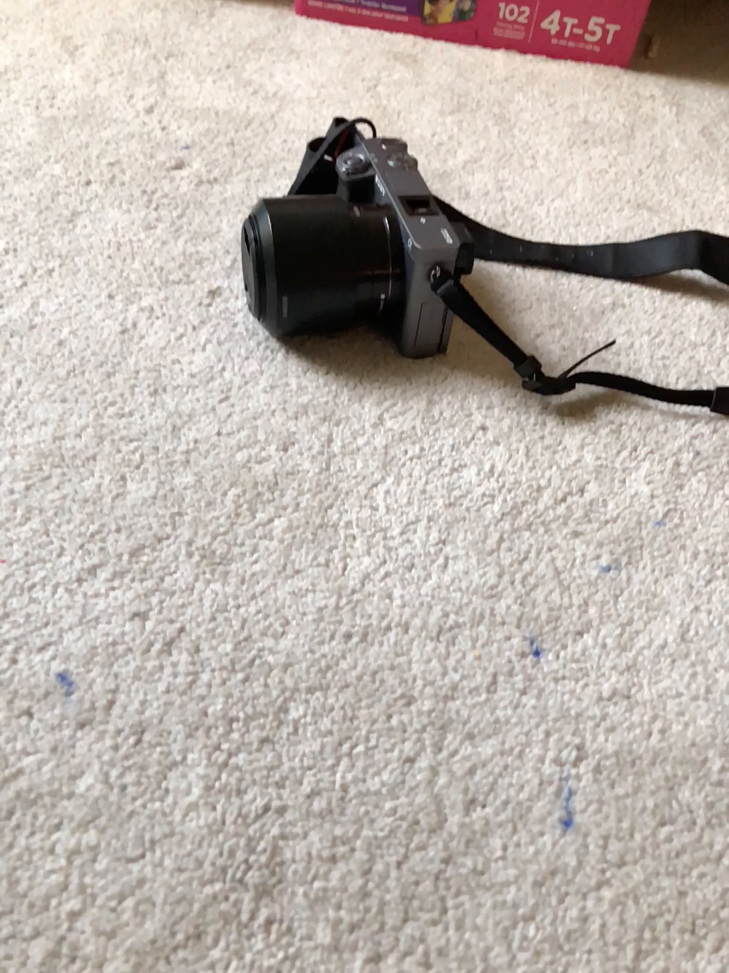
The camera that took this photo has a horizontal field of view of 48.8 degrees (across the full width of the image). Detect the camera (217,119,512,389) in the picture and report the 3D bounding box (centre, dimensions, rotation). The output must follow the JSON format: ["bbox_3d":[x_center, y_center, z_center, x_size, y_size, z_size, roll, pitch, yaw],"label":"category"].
[{"bbox_3d":[-0.009,-0.130,0.433,0.120,0.080,0.131,-7,48,-15],"label":"camera"}]
